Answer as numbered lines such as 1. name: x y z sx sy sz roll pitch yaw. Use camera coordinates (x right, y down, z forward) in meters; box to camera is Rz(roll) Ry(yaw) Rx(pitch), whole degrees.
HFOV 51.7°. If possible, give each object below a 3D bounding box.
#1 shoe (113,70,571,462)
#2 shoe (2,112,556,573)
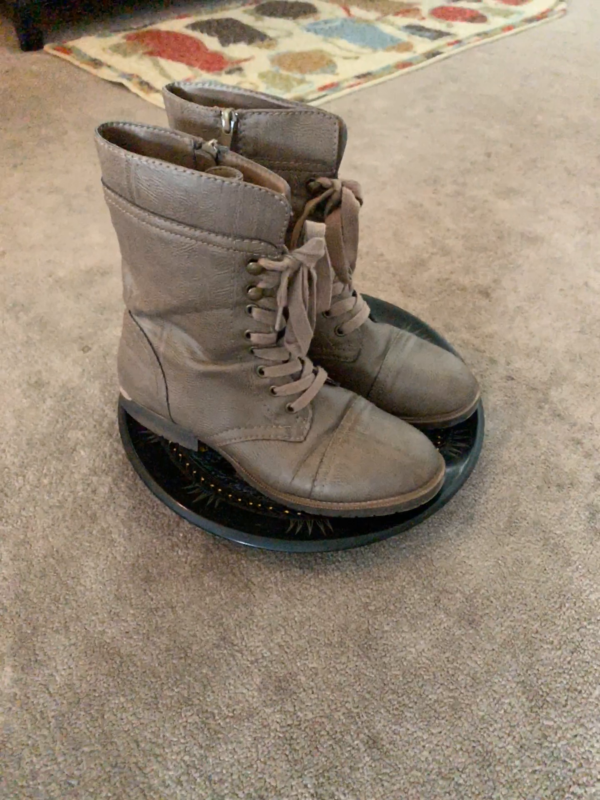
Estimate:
1. shoe: 0.021 -0.099 0.459 0.270 0.198 0.101 20 48 16
2. shoe: -0.016 -0.036 0.391 0.270 0.198 0.101 20 48 16
